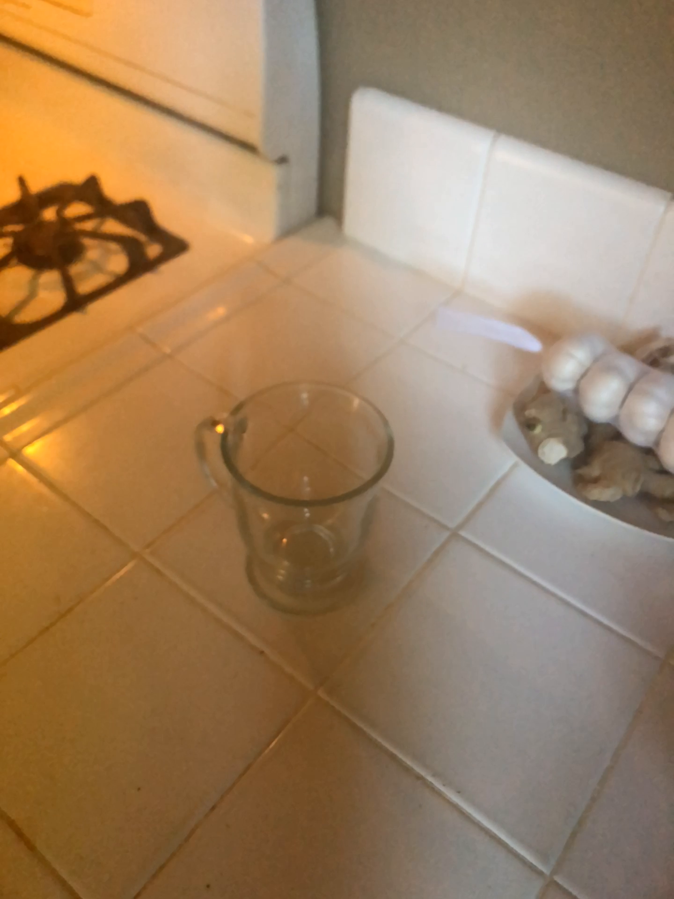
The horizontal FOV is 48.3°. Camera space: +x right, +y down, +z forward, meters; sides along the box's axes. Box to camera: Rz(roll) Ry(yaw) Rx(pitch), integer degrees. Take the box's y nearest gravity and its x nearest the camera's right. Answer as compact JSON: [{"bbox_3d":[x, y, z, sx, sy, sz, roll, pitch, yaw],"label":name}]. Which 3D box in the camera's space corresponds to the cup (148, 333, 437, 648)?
[{"bbox_3d":[-0.026,0.024,0.470,0.130,0.119,0.101,26,51,20],"label":"cup"}]
